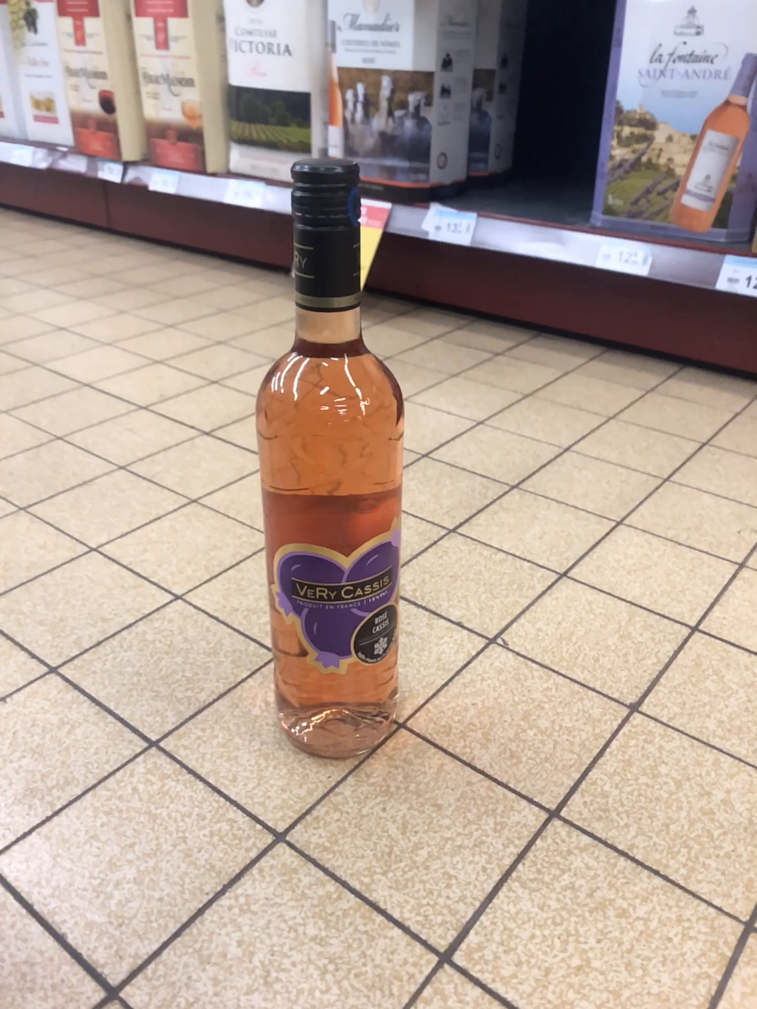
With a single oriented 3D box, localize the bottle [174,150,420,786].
[{"bbox_3d":[-0.038,-0.009,0.413,0.080,0.298,0.080,1,28,0],"label":"bottle"}]
